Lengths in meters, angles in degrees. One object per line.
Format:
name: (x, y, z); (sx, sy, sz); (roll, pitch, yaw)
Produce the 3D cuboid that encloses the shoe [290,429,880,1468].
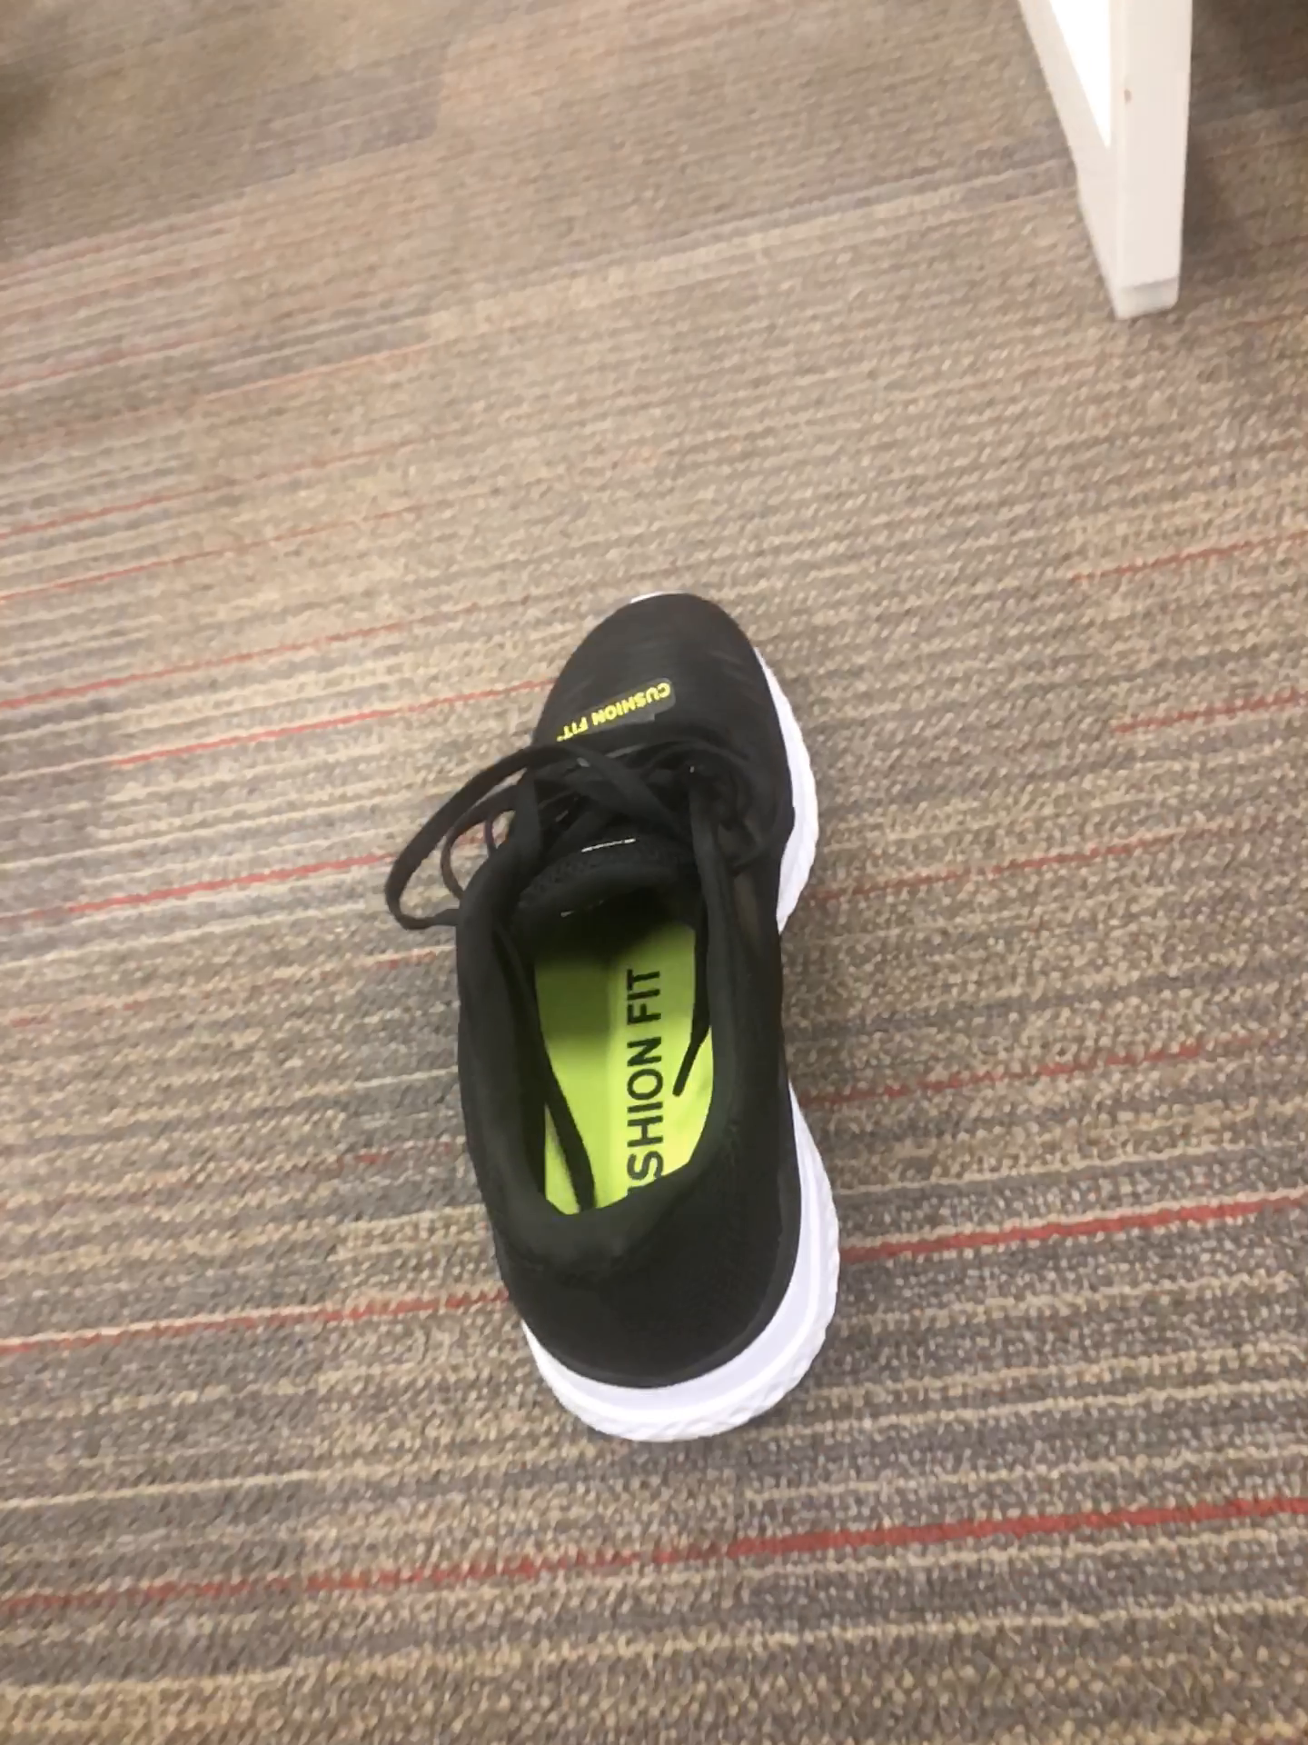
shoe: (-0.009, 0.011, 0.434); (0.120, 0.100, 0.290); (-7, 54, 11)
